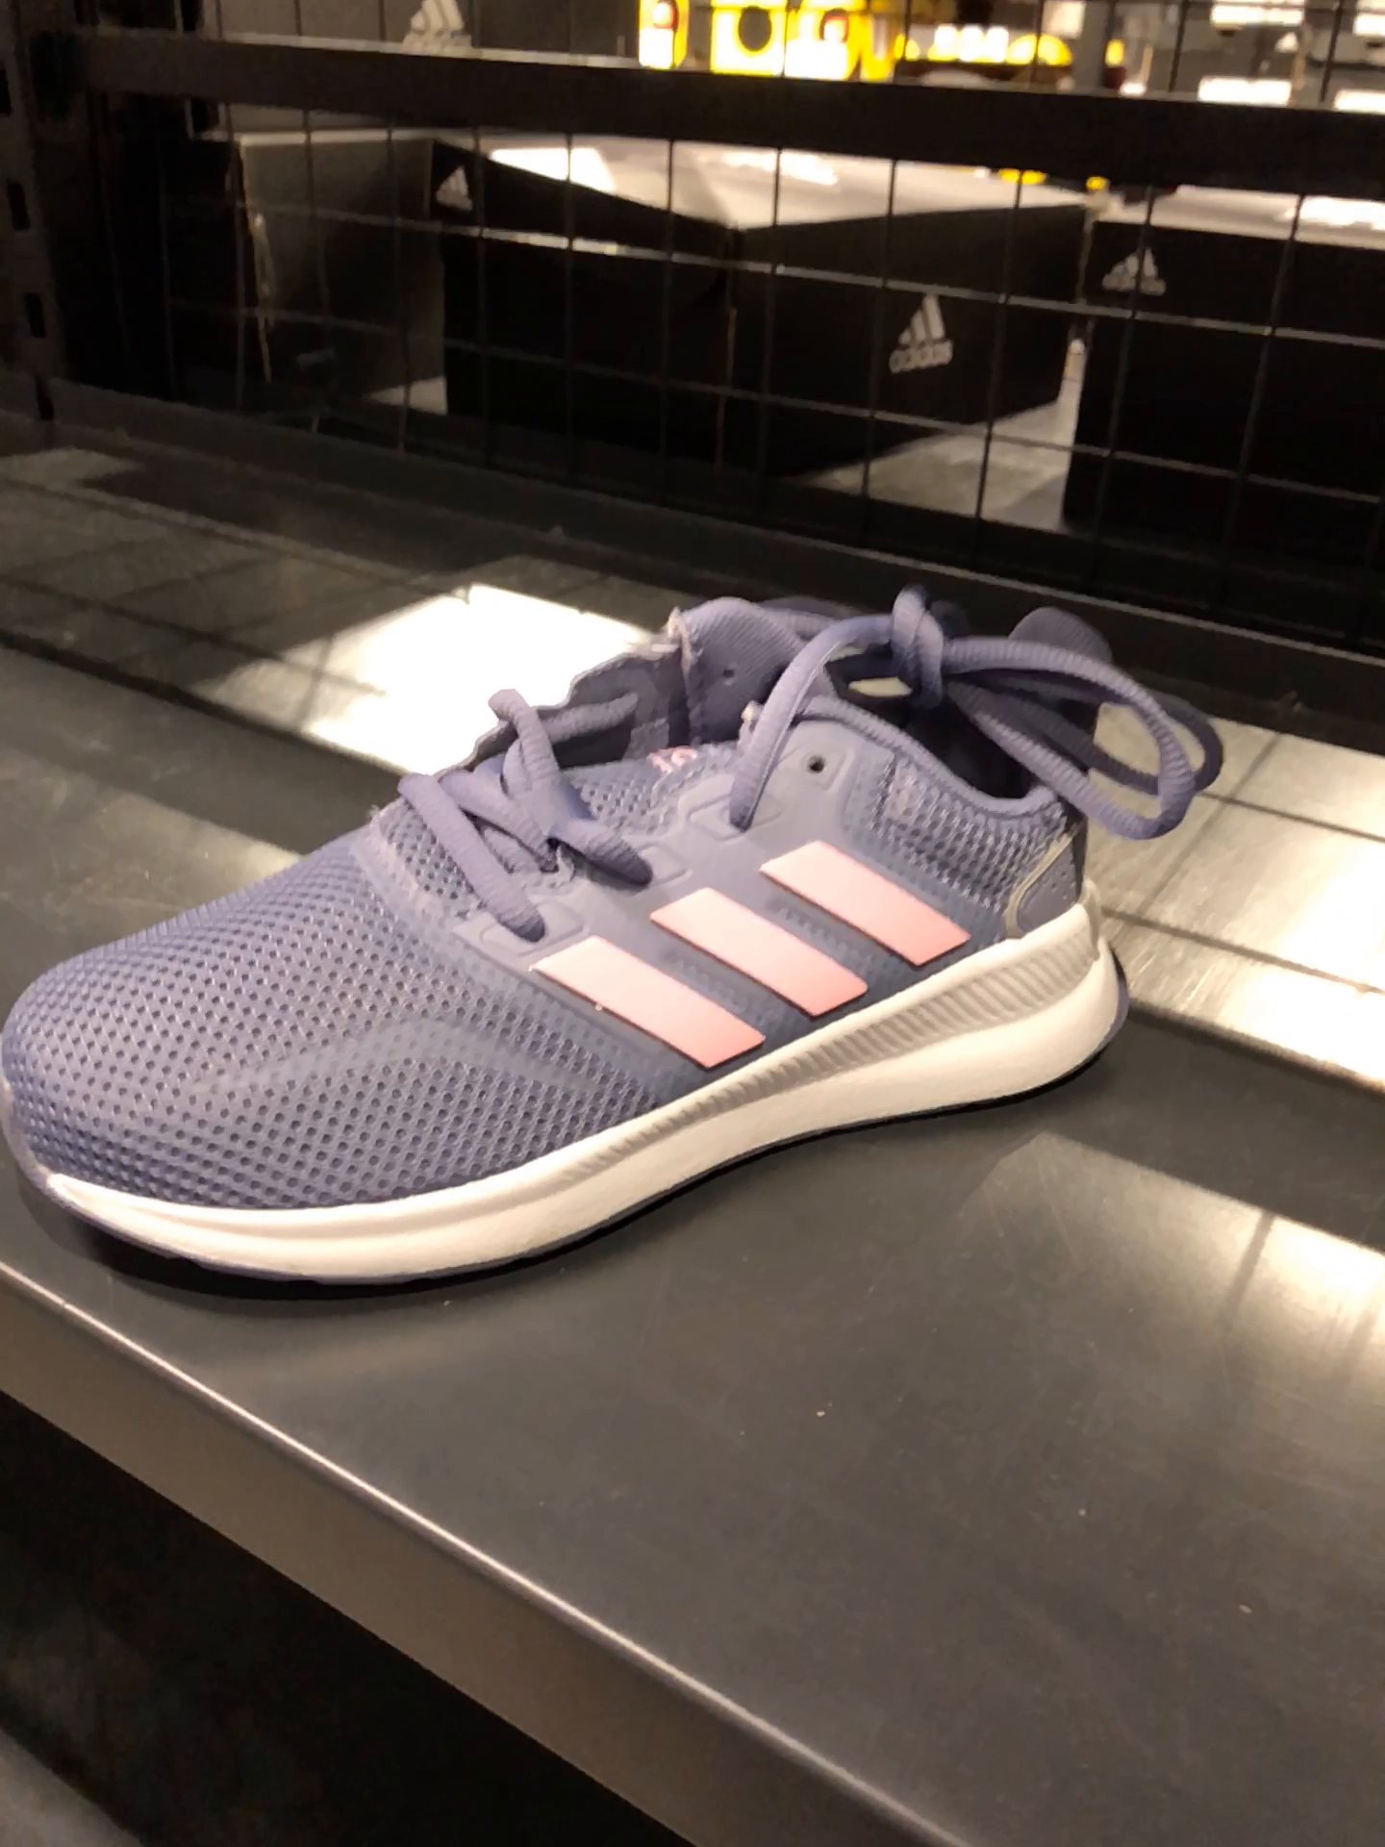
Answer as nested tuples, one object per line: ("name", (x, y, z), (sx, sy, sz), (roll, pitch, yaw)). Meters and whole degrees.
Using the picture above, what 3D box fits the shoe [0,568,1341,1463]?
("shoe", (-0.006, 0.001, 0.287), (0.220, 0.090, 0.090), (-11, 32, -23))
